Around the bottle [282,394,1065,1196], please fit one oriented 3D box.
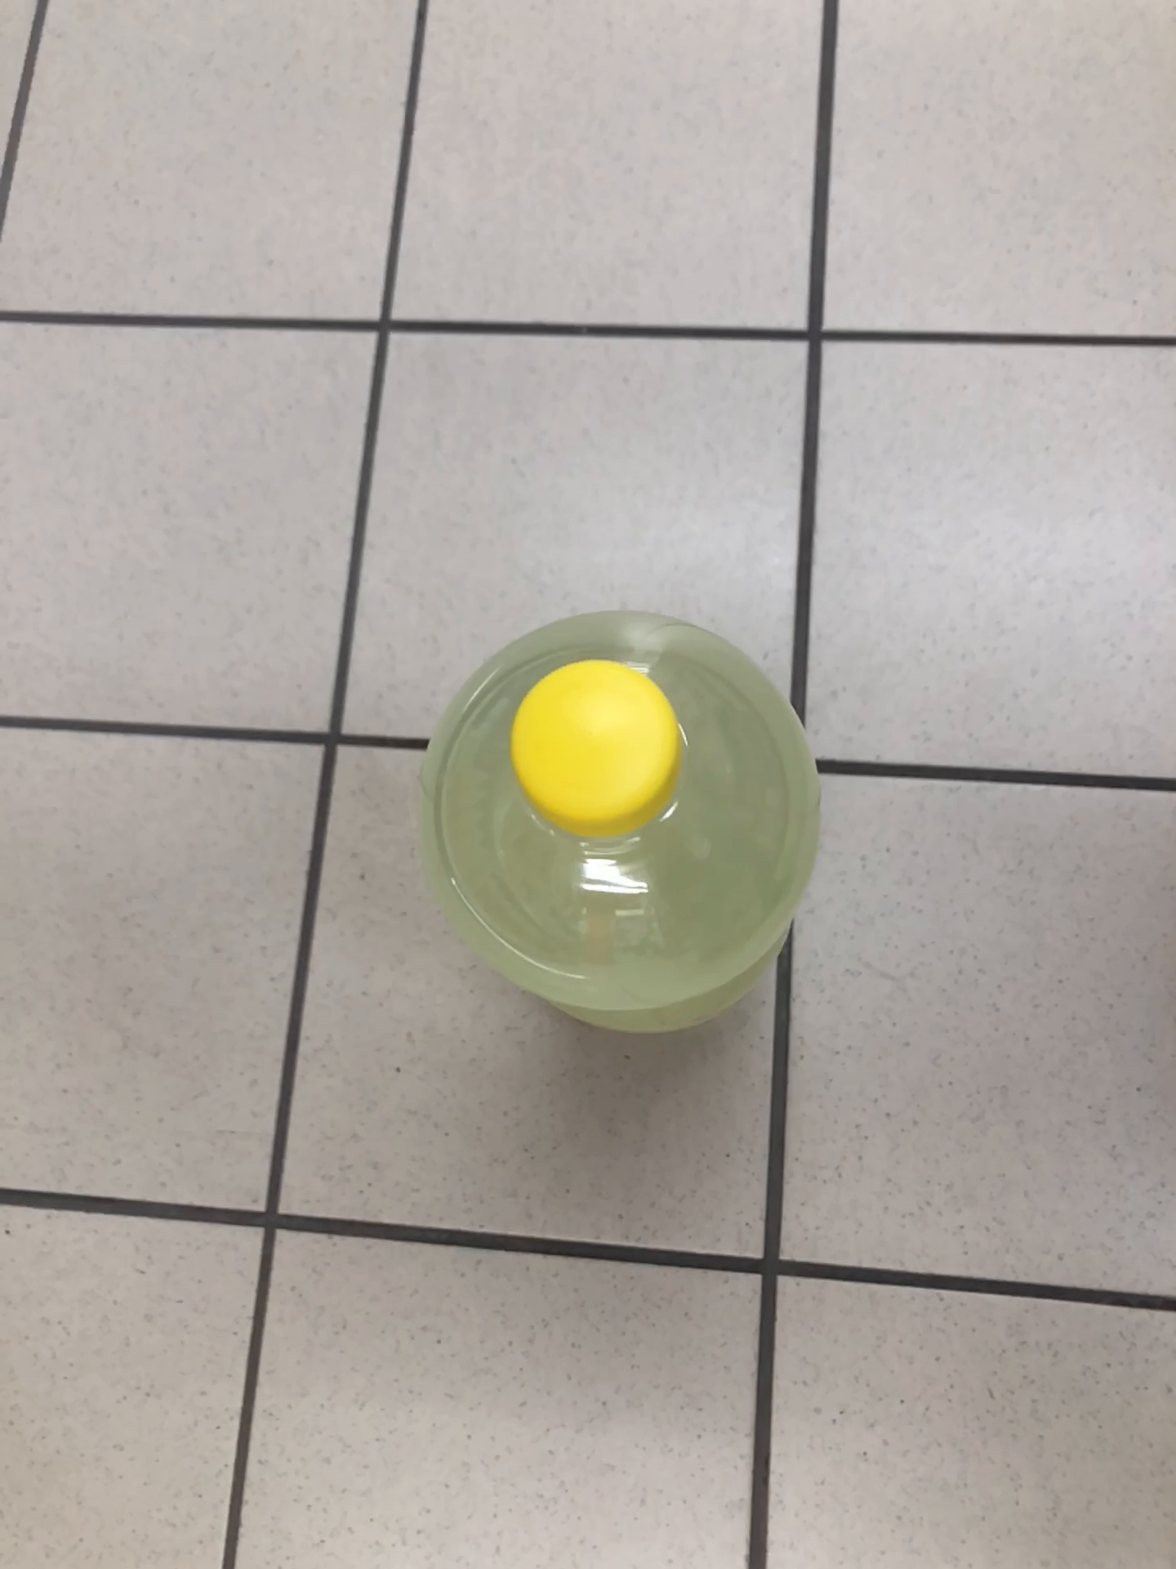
[{"bbox_3d":[0.024,0.032,0.362,0.100,0.300,0.110,-18,76,1],"label":"bottle"}]
